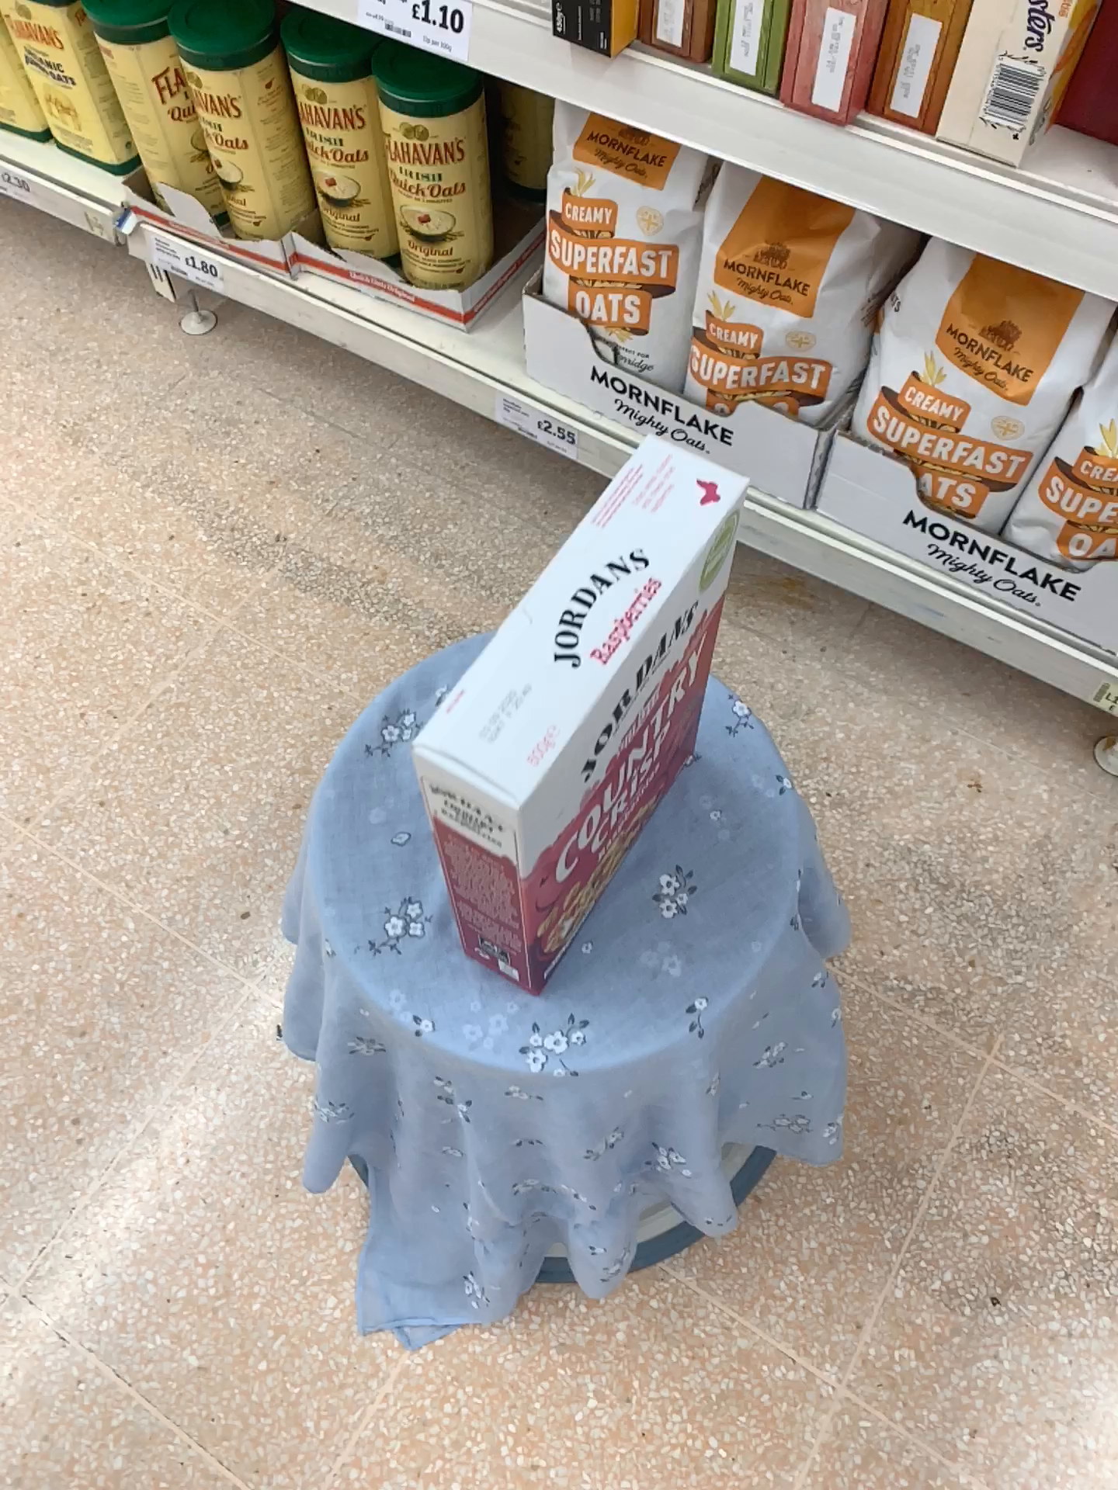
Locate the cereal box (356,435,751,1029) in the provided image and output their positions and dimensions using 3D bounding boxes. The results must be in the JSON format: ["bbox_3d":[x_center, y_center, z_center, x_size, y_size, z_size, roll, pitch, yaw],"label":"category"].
[{"bbox_3d":[0.000,0.012,0.582,0.060,0.268,0.201,31,65,14],"label":"cereal box"}]
